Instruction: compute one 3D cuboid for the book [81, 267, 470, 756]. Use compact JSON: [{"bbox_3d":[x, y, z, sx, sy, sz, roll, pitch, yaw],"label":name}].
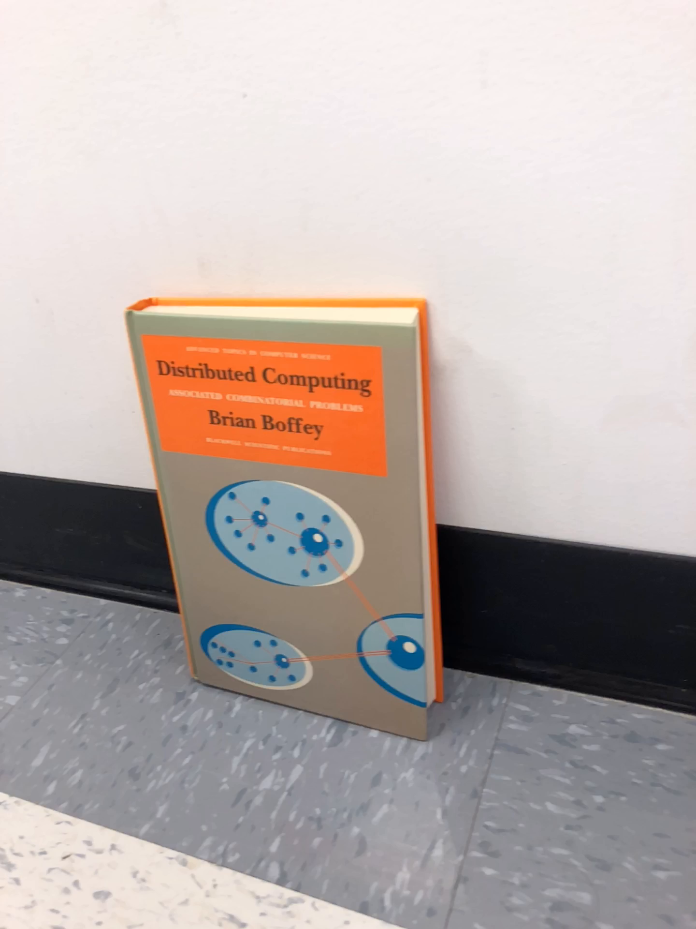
[{"bbox_3d":[-0.029,0.023,0.399,0.170,0.239,0.050,6,27,24],"label":"book"}]
